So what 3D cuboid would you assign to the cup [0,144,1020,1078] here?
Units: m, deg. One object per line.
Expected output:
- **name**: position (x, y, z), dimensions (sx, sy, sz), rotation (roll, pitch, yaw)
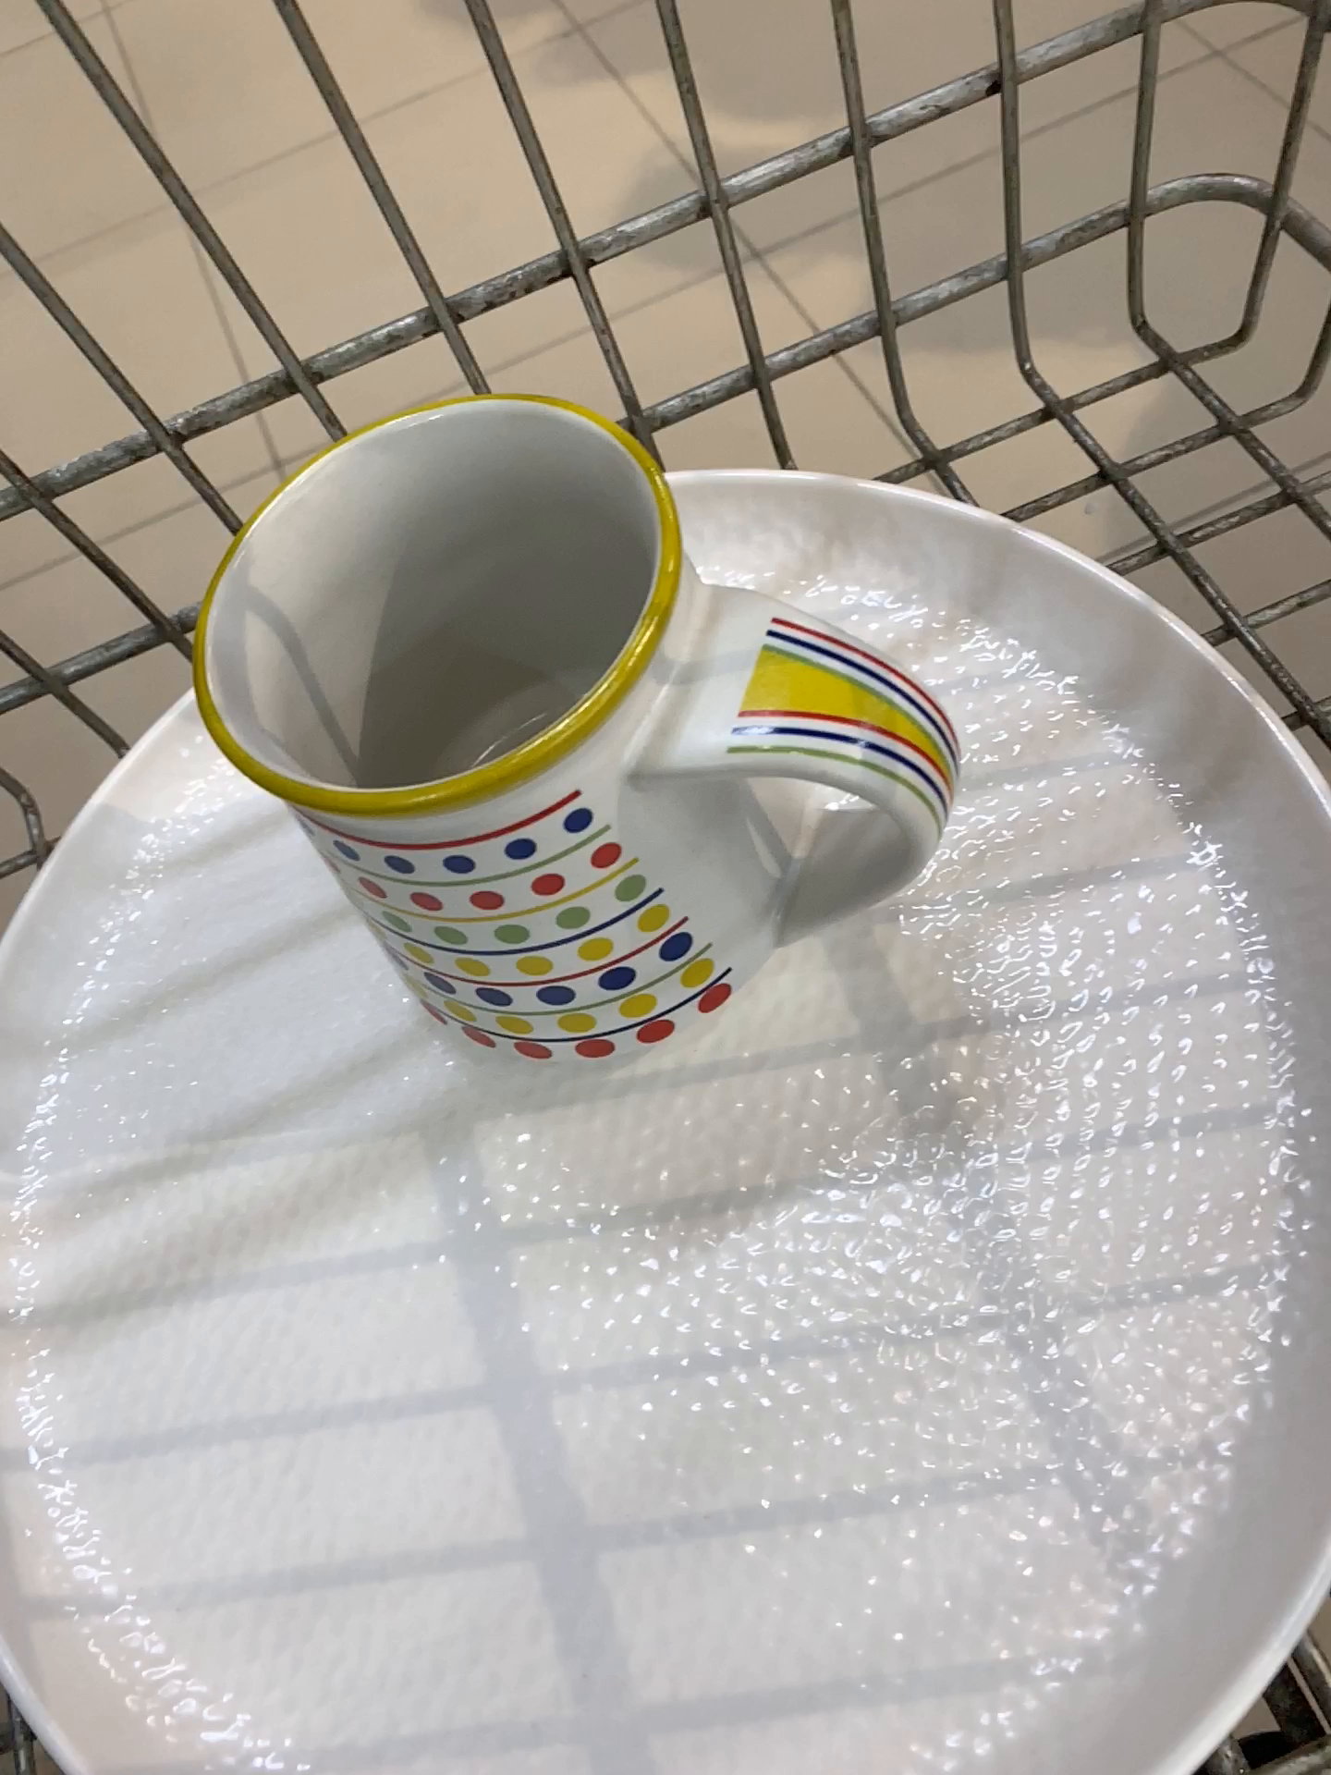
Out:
- **cup**: position (-0.013, -0.030, 0.208), dimensions (0.120, 0.100, 0.080), rotation (-4, 60, 11)
